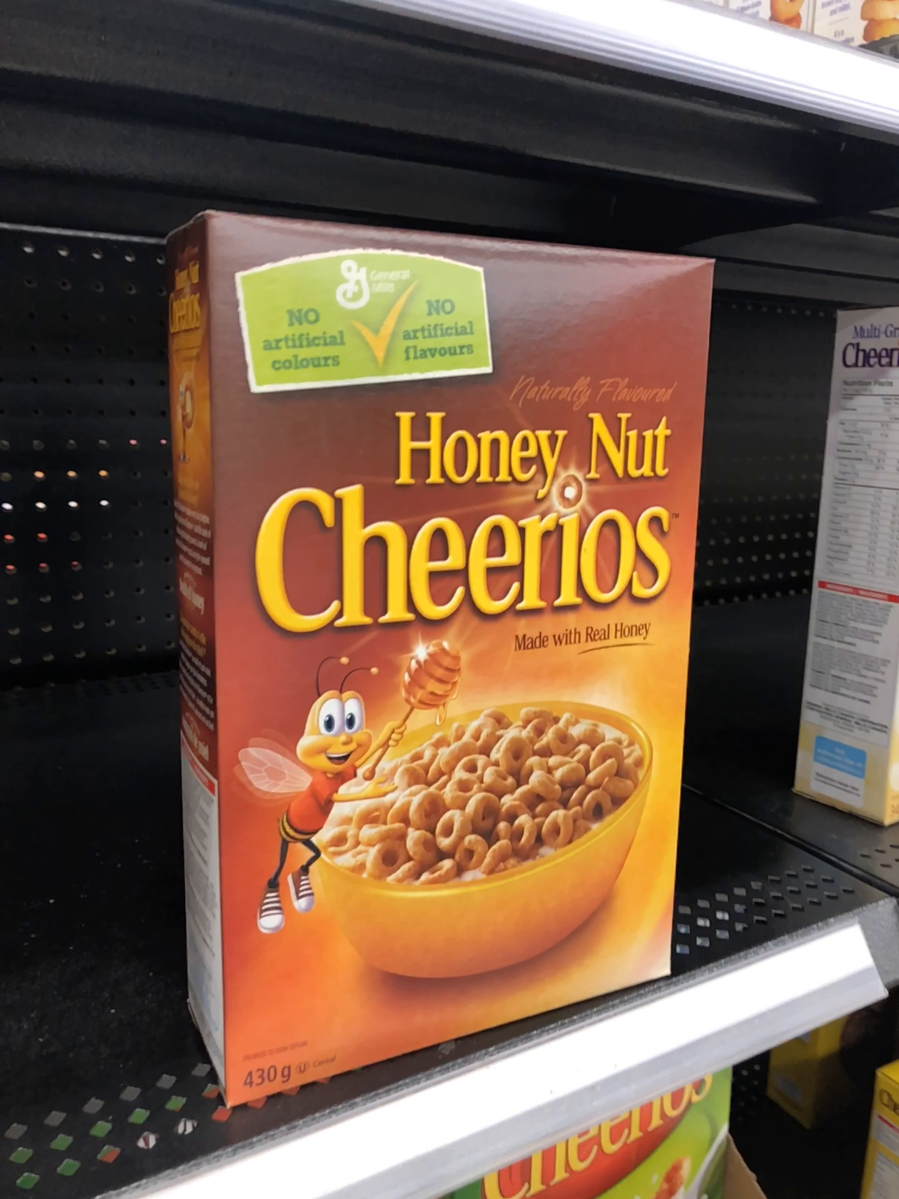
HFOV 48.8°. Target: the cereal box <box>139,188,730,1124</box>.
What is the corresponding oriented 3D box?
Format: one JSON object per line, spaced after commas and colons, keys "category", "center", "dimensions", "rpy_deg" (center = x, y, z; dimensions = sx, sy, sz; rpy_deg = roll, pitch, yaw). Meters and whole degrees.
{"category": "cereal box", "center": [-0.005, 0.017, 0.382], "dimensions": [0.200, 0.299, 0.070], "rpy_deg": [-4, 13, -26]}
